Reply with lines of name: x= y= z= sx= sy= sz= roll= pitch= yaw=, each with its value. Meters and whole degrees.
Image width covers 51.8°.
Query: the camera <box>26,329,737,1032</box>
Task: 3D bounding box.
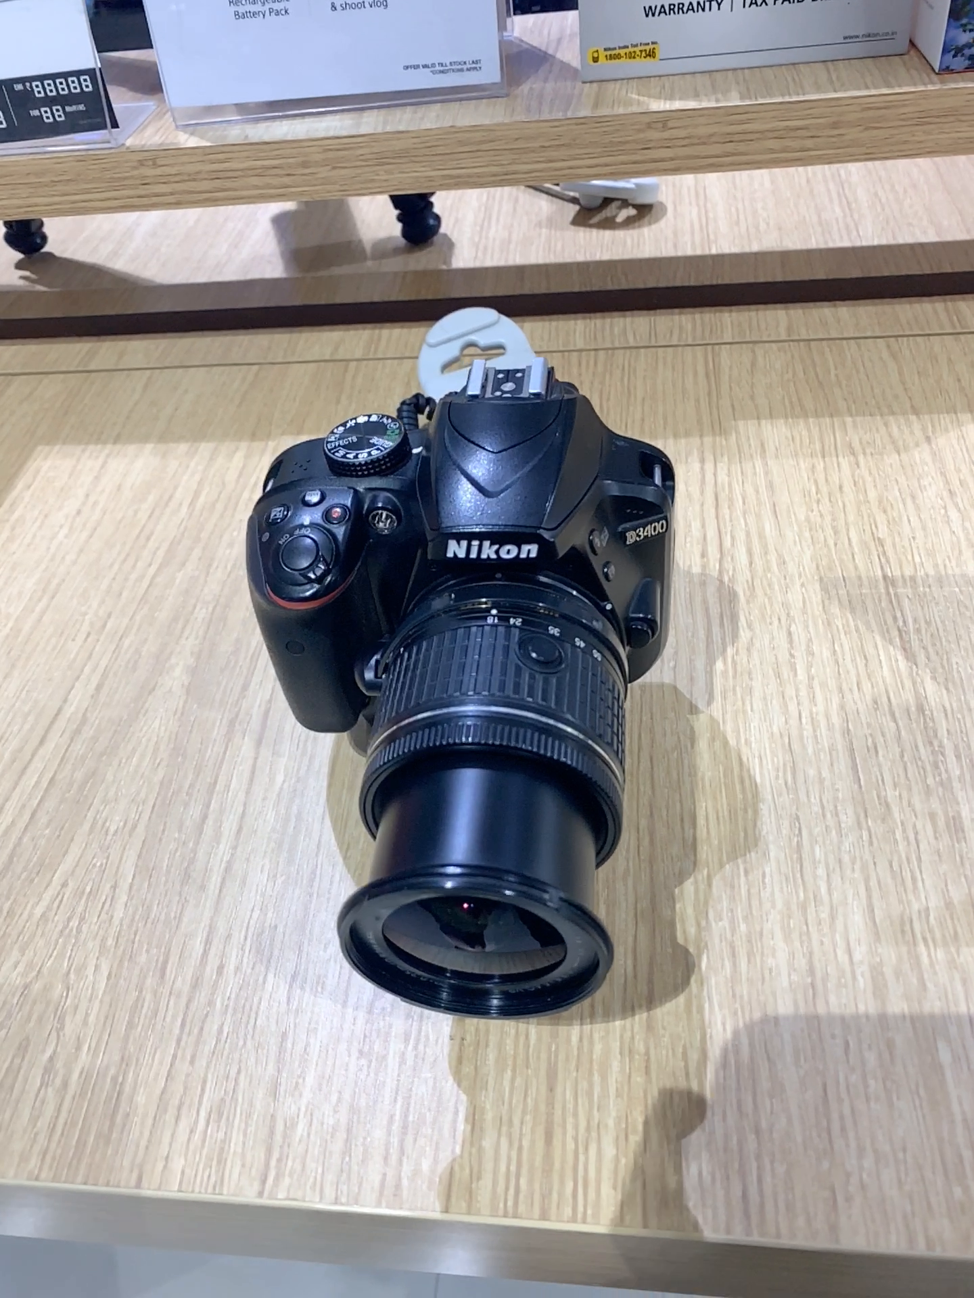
camera: x=-0.009 y=0.003 z=0.247 sx=0.120 sy=0.094 sz=0.140 roll=-1 pitch=46 yaw=8
